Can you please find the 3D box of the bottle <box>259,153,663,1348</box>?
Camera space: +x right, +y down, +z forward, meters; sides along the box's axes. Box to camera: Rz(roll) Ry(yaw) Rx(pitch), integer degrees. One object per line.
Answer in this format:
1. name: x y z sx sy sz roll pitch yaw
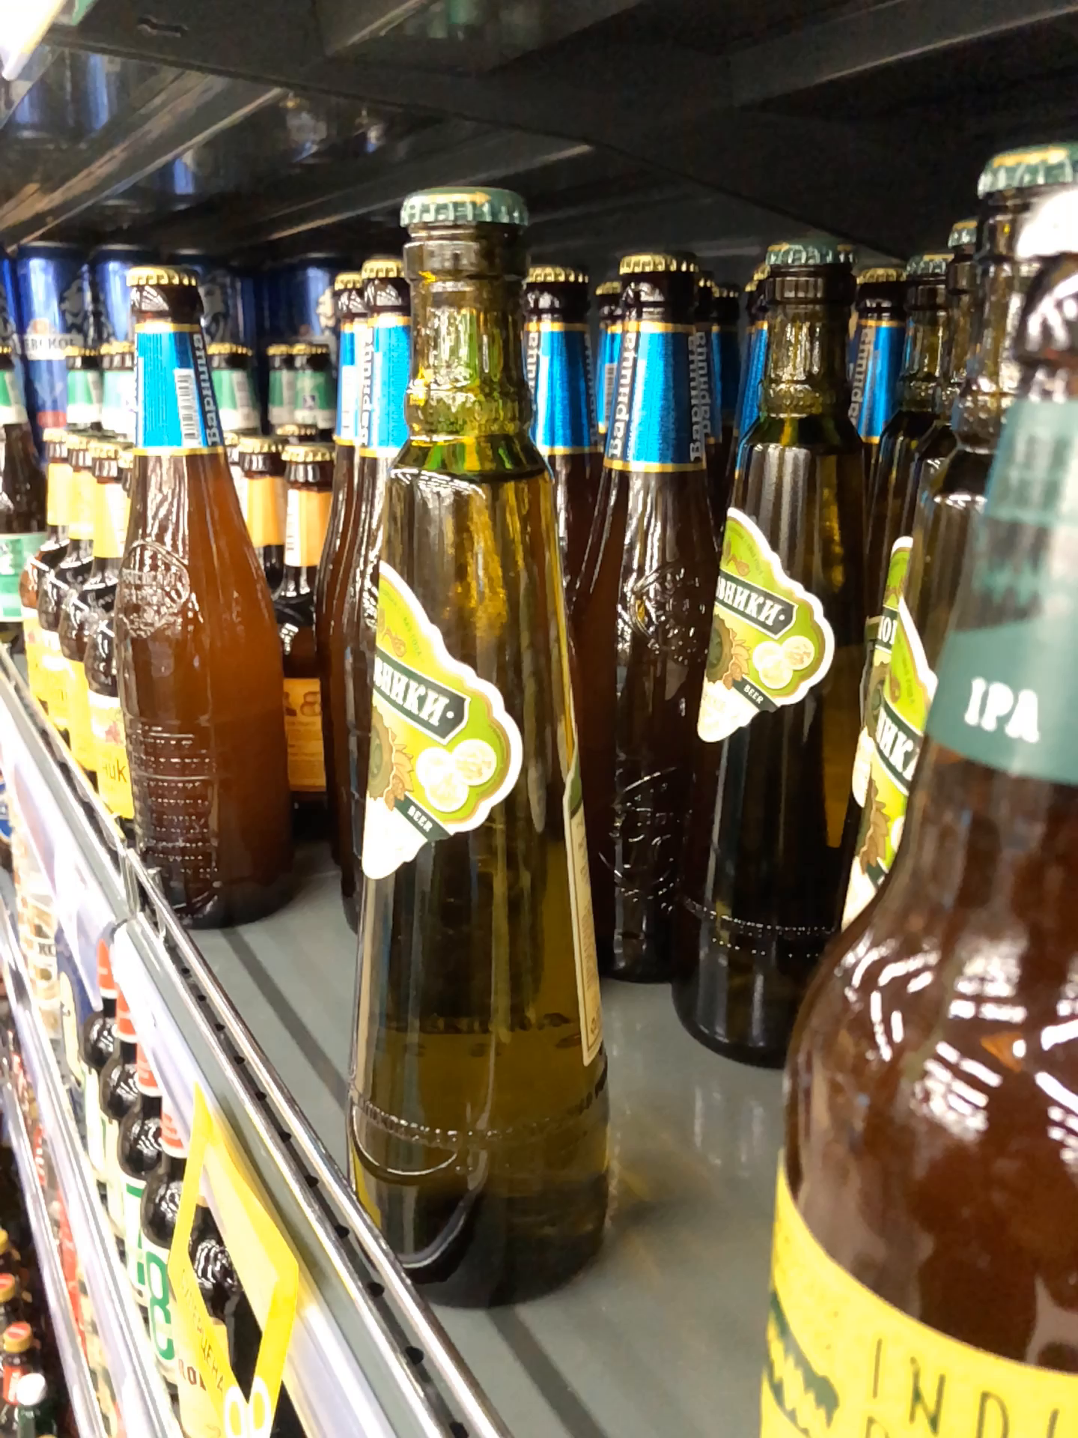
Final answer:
1. bottle: -0.020 0.012 0.291 0.070 0.261 0.070 0 16 0
